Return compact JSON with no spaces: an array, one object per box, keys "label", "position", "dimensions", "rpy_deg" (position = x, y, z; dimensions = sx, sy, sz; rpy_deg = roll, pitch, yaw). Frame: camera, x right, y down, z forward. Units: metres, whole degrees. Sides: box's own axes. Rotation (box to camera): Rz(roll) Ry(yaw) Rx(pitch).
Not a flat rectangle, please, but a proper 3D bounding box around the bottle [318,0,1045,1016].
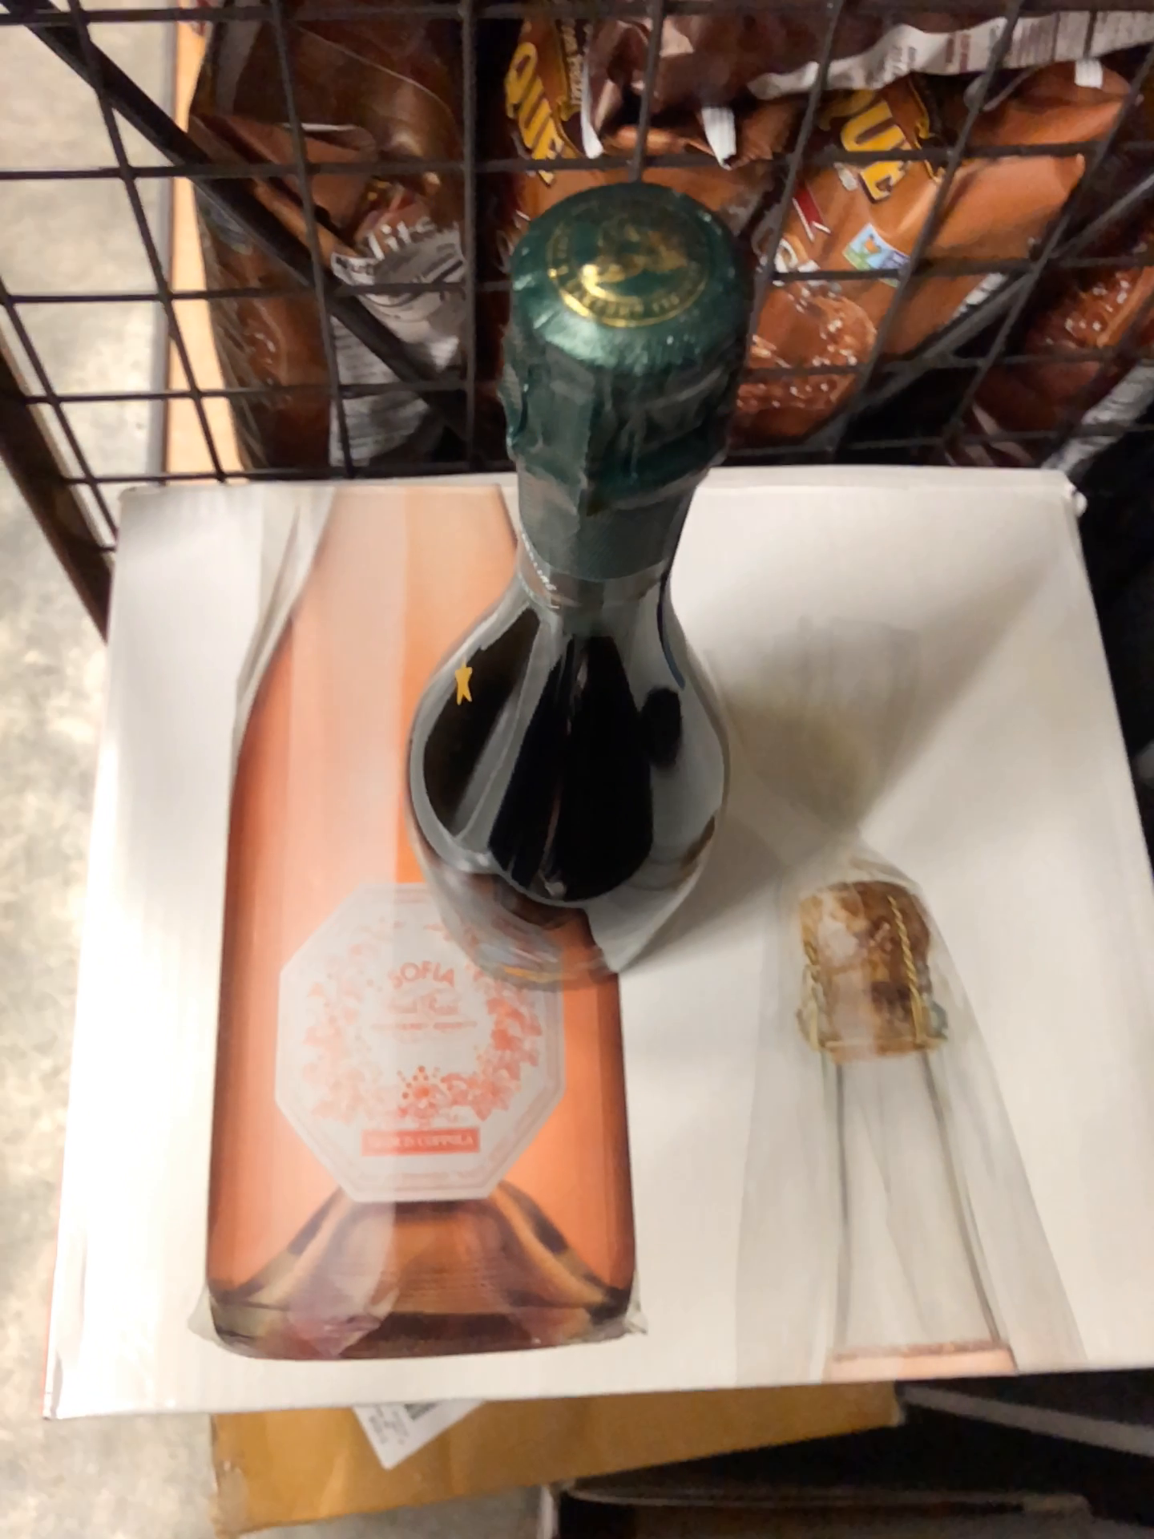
[{"label":"bottle","position":[0.001,-0.017,0.312],"dimensions":[0.090,0.300,0.090],"rpy_deg":[2,67,-4]}]
